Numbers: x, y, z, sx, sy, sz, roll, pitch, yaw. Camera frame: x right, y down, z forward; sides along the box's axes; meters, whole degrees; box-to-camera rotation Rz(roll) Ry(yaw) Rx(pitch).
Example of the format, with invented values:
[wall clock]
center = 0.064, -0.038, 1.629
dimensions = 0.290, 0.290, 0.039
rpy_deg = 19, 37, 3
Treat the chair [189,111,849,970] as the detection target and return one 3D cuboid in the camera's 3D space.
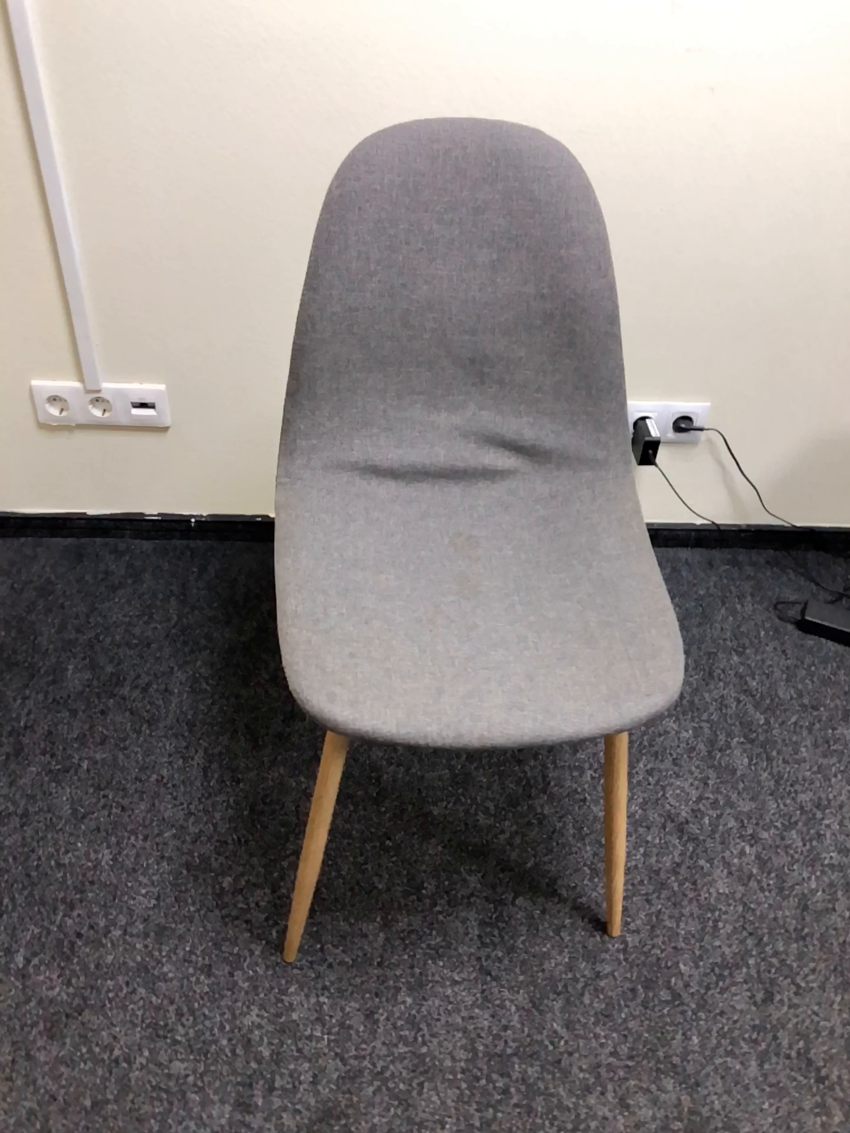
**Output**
[chair]
center = 0.035, -0.022, 1.095
dimensions = 0.470, 0.784, 0.604
rpy_deg = -1, 41, -6
